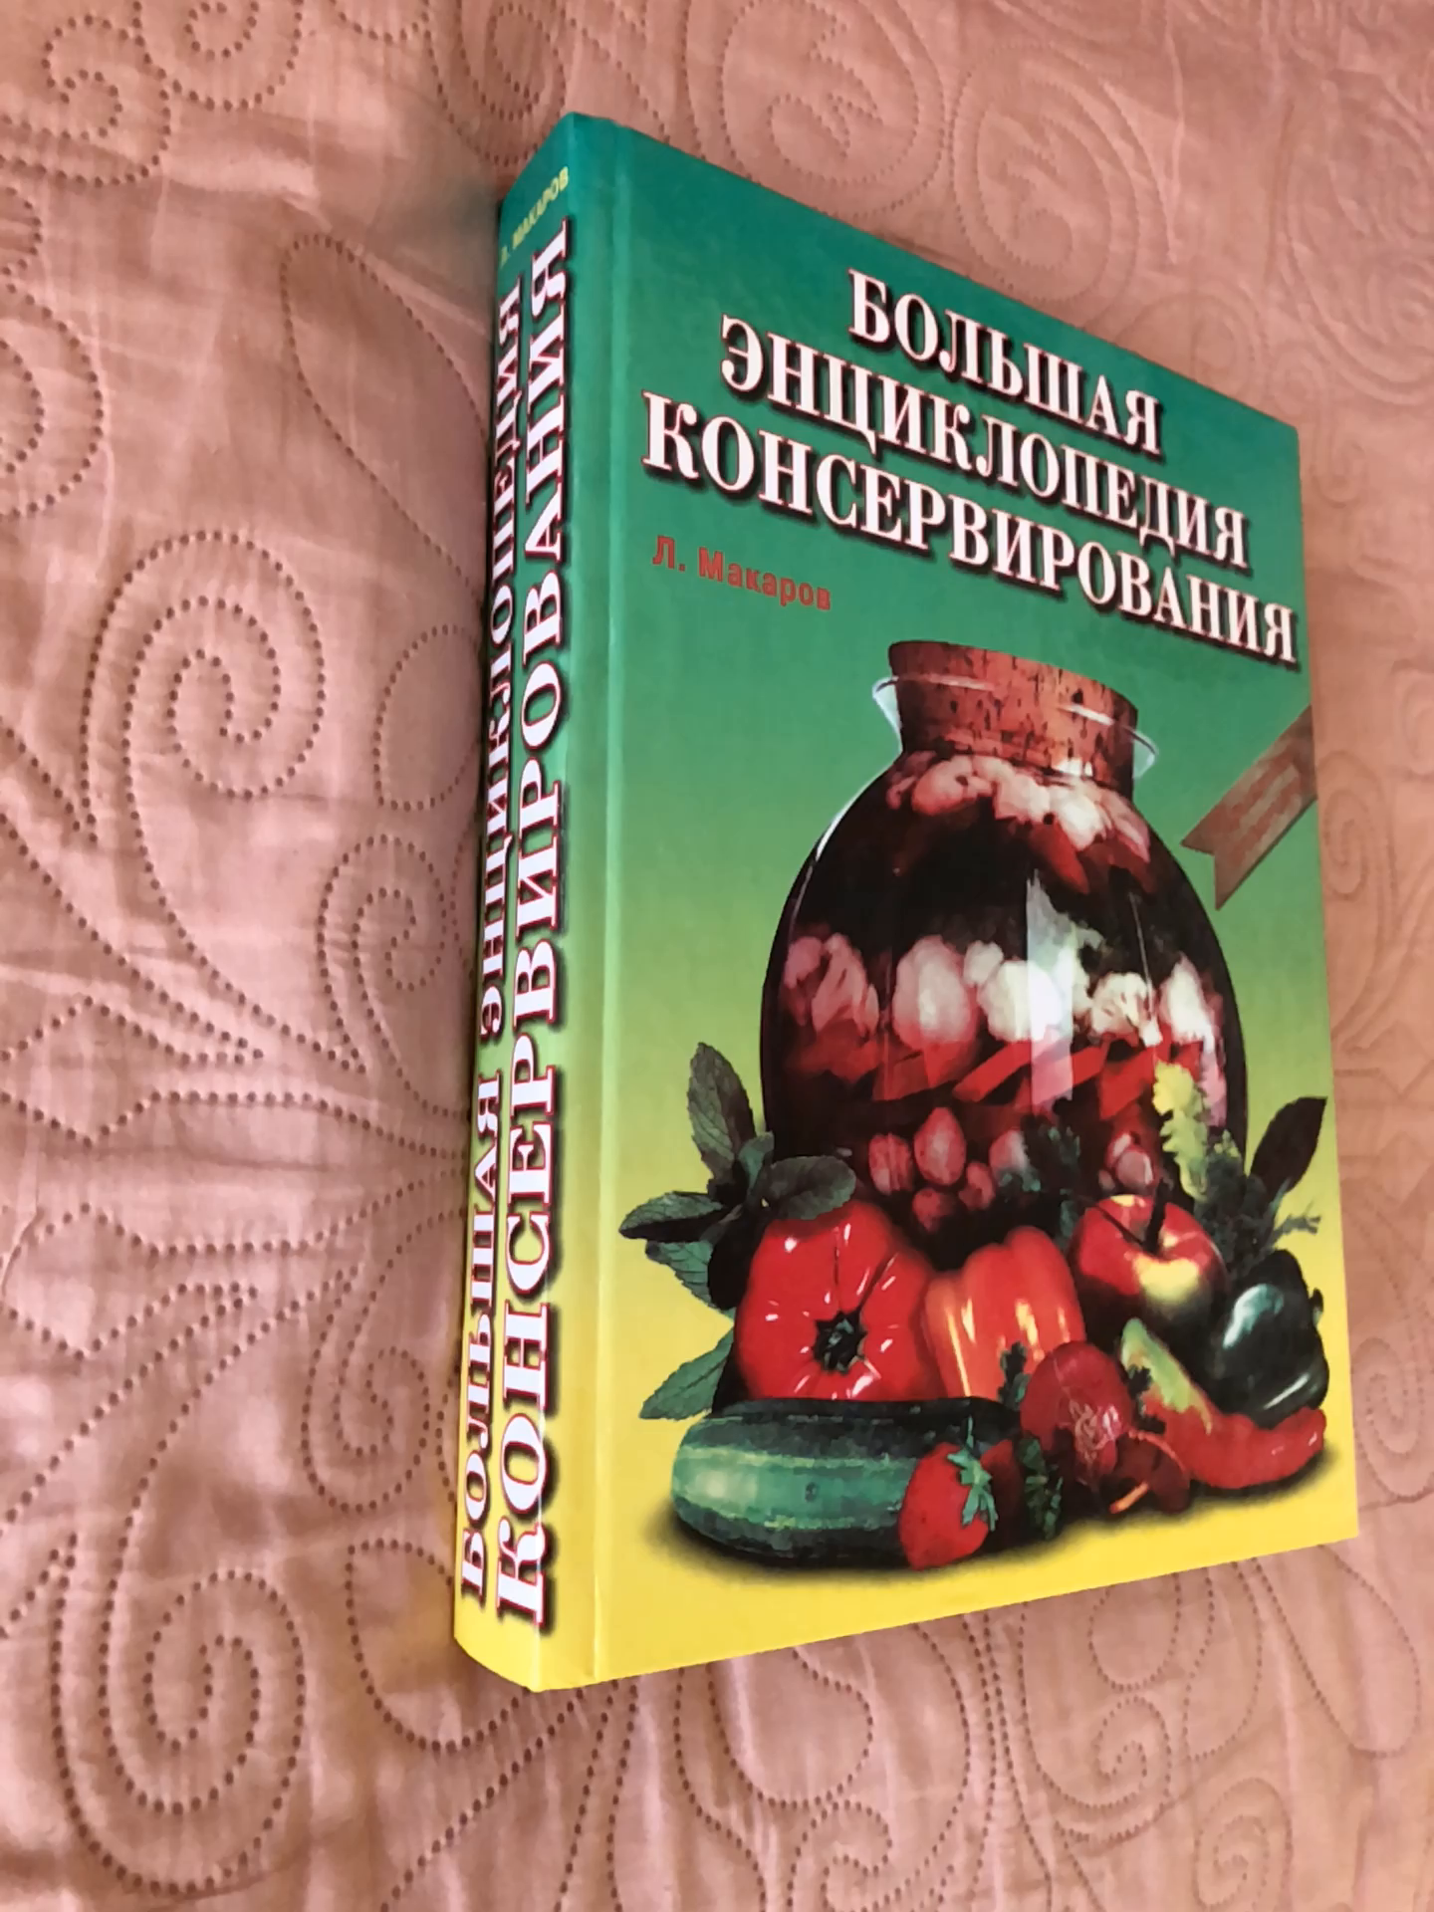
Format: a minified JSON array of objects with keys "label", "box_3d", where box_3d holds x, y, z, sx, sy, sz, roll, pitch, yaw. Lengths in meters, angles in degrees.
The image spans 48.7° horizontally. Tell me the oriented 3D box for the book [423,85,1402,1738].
[{"label":"book","box_3d":[0.051,-0.006,0.338,0.217,0.050,0.272,7,78,-35]}]
